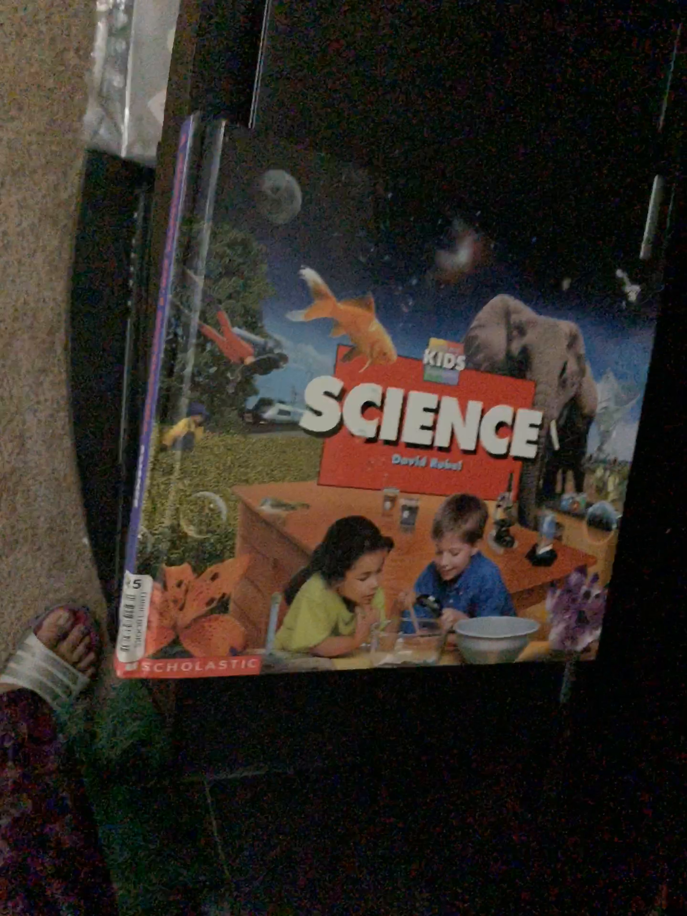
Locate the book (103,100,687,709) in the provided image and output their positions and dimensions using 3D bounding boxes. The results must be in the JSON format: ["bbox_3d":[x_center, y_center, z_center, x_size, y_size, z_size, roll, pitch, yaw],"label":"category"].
[{"bbox_3d":[0.043,-0.004,0.354,0.281,0.030,0.240,7,95,-27],"label":"book"}]
